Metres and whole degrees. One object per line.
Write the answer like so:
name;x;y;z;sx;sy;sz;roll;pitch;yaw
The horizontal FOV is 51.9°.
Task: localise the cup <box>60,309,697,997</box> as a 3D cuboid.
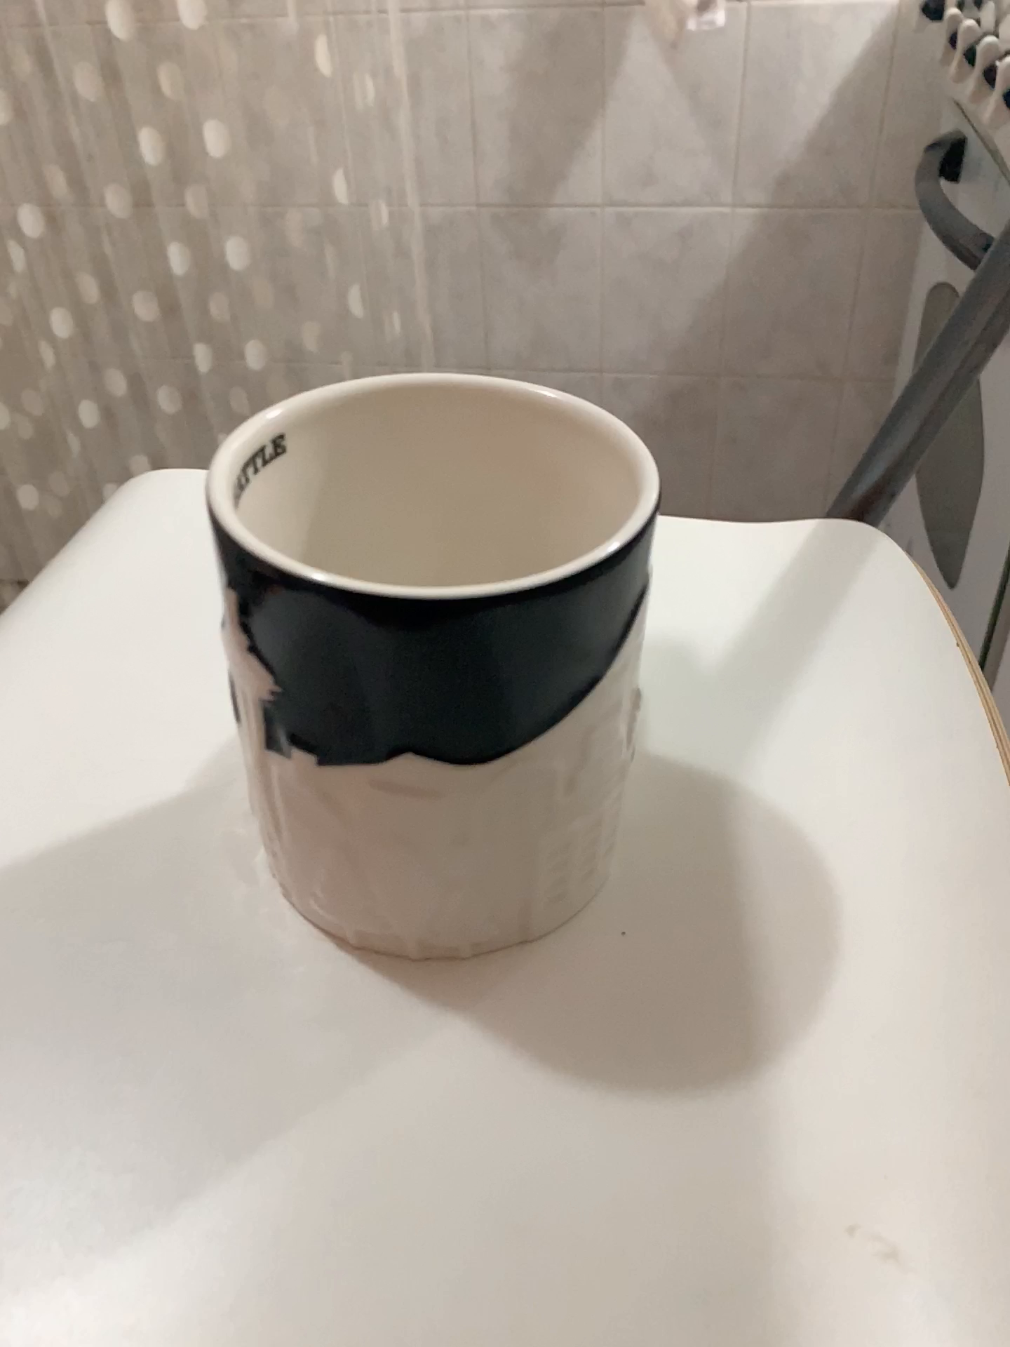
cup;-0.012;-0.017;0.264;0.104;0.100;0.144;5;39;12
